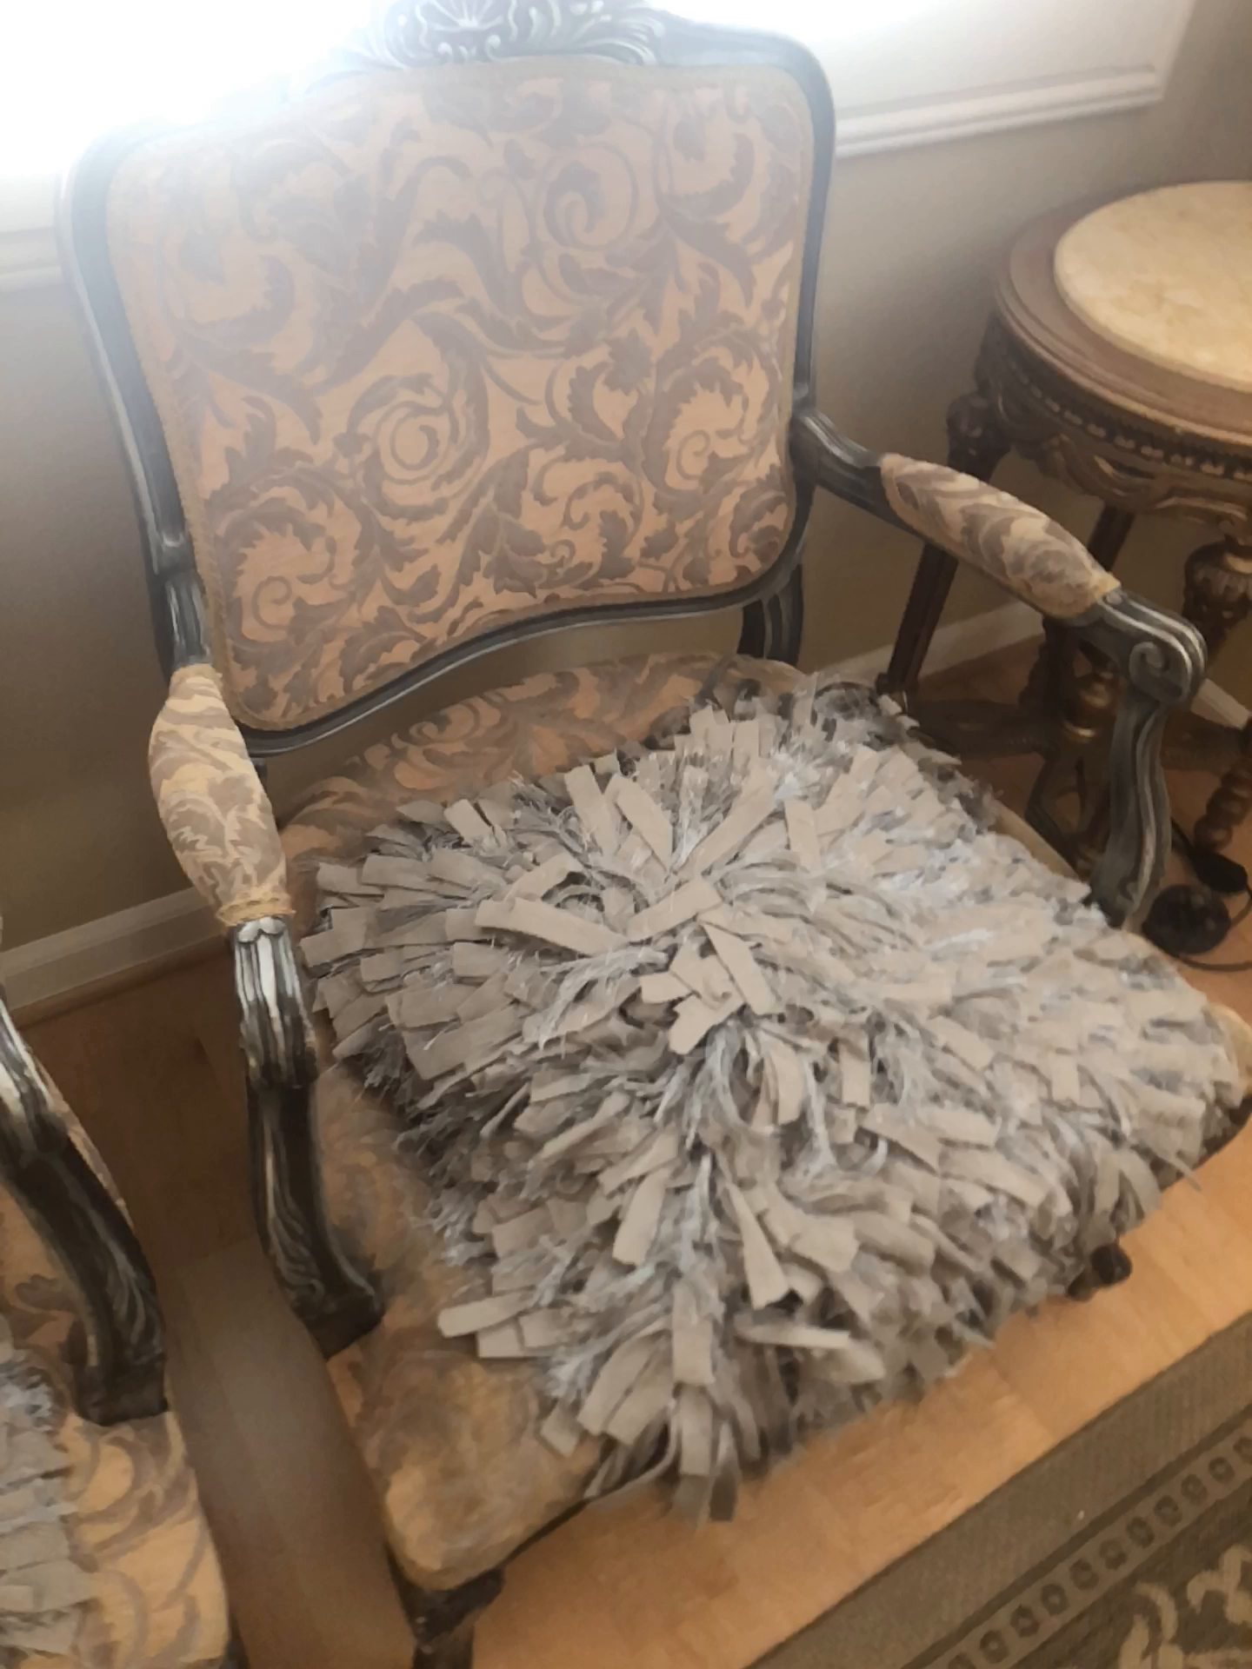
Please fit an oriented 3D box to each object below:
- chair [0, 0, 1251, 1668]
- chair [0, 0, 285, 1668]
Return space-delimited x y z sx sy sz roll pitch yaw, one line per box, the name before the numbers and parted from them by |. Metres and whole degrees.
chair | 0.018 -0.037 0.980 0.743 0.853 0.783 -21 53 -24
chair | -0.628 0.213 0.656 0.692 0.952 0.603 -15 51 -20
